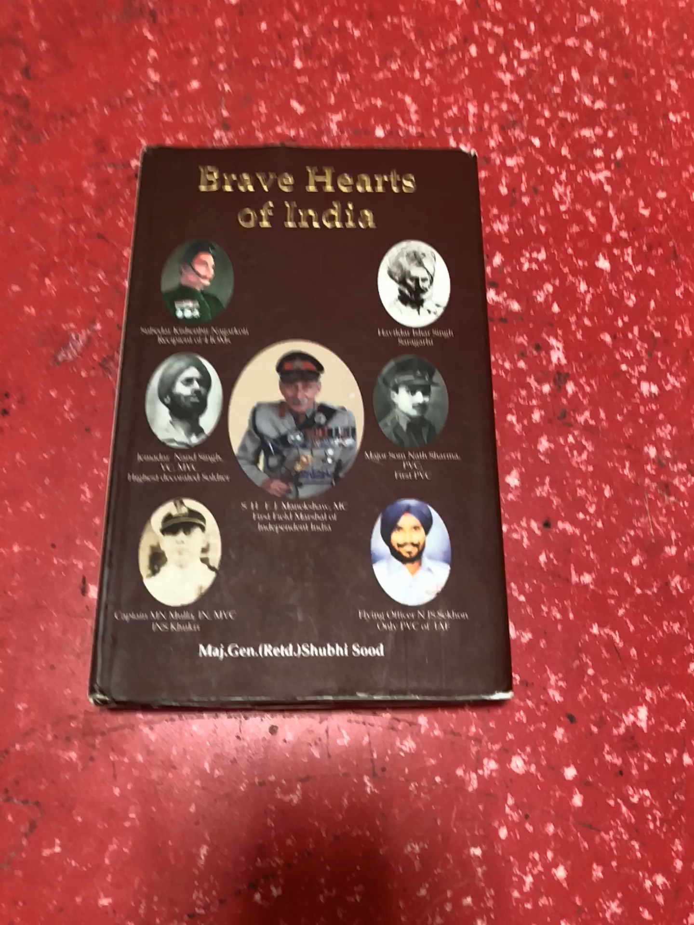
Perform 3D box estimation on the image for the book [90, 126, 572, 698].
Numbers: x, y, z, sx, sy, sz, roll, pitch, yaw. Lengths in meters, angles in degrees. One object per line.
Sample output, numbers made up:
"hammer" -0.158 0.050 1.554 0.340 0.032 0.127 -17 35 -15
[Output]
"book" -0.005 -0.027 0.291 0.150 0.030 0.220 0 71 0
